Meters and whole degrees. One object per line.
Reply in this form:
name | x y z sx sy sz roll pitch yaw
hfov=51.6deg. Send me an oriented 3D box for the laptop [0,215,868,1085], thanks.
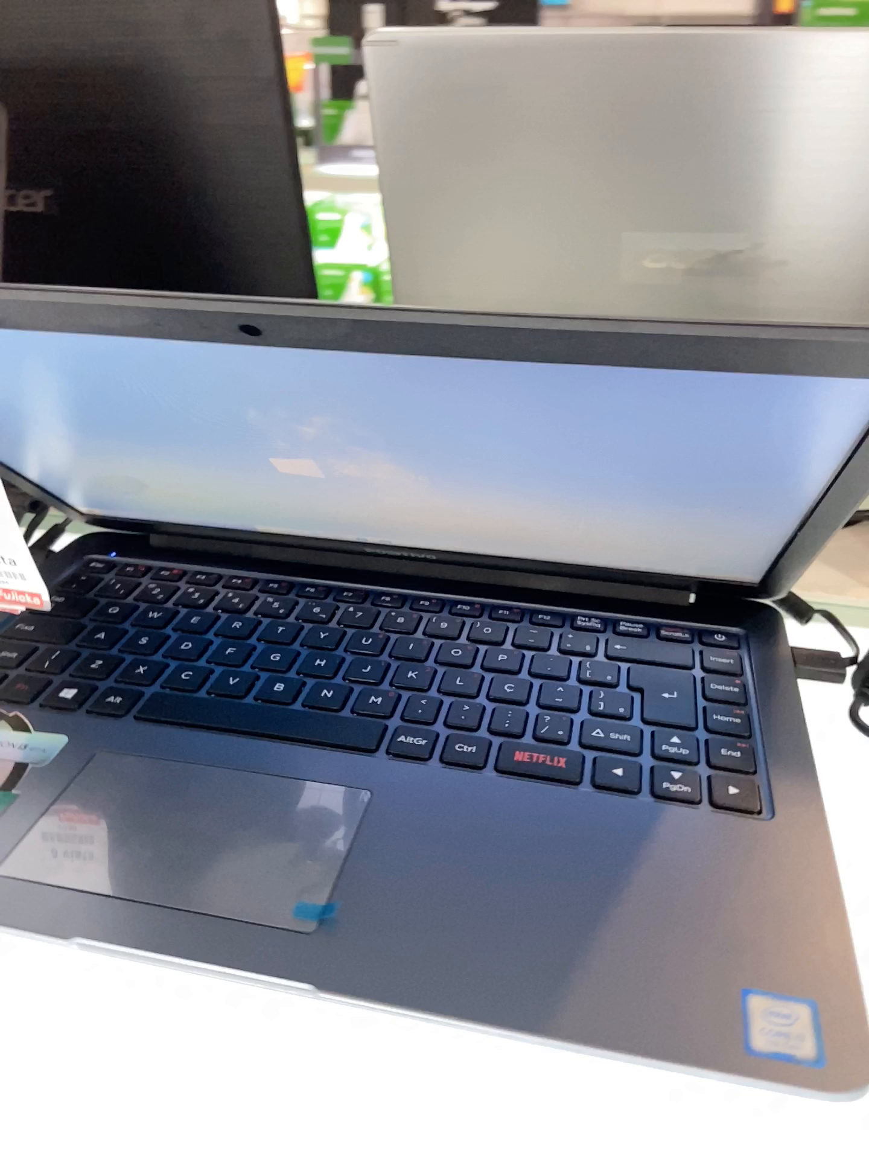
laptop | -0.036 -0.020 0.283 0.316 0.145 0.212 6 29 12
